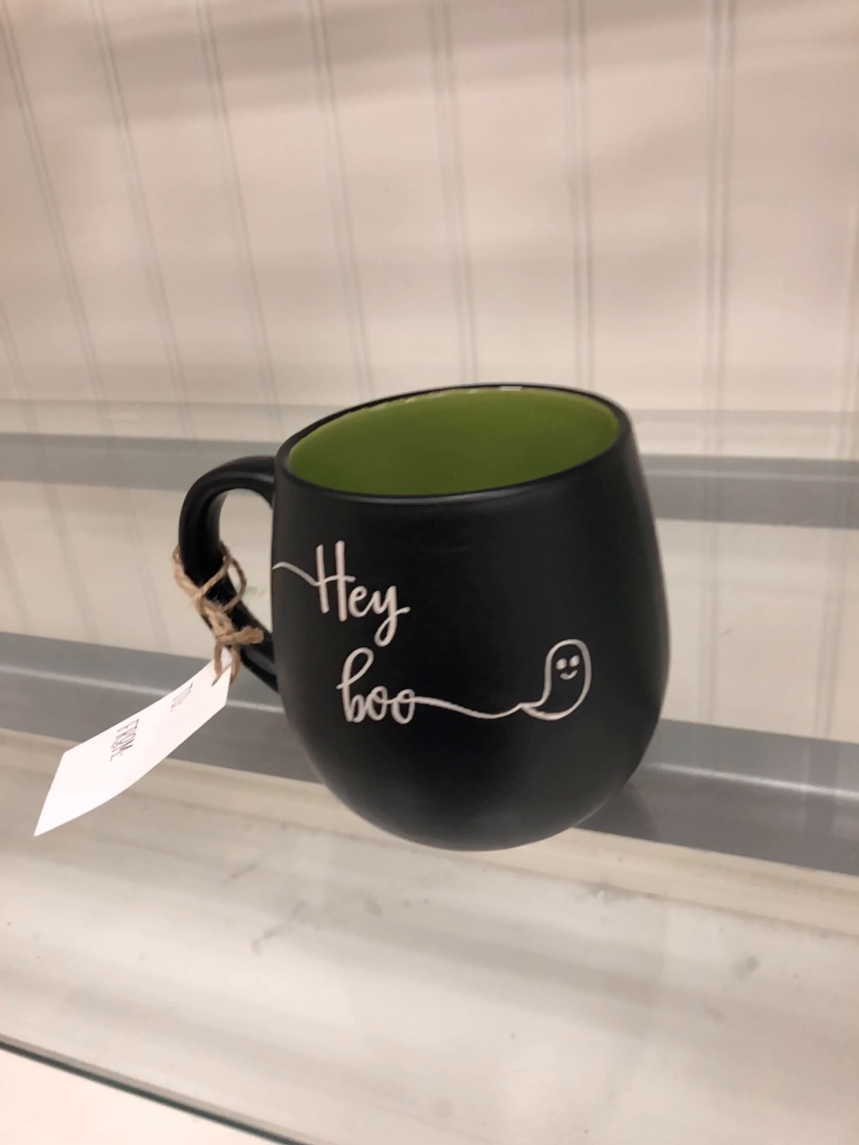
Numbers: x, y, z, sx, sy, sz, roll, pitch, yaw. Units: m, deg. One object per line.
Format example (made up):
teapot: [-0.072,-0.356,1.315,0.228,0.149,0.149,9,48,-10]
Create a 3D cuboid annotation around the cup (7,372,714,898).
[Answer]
cup: [-0.009,0.004,0.252,0.149,0.089,0.091,5,28,22]
